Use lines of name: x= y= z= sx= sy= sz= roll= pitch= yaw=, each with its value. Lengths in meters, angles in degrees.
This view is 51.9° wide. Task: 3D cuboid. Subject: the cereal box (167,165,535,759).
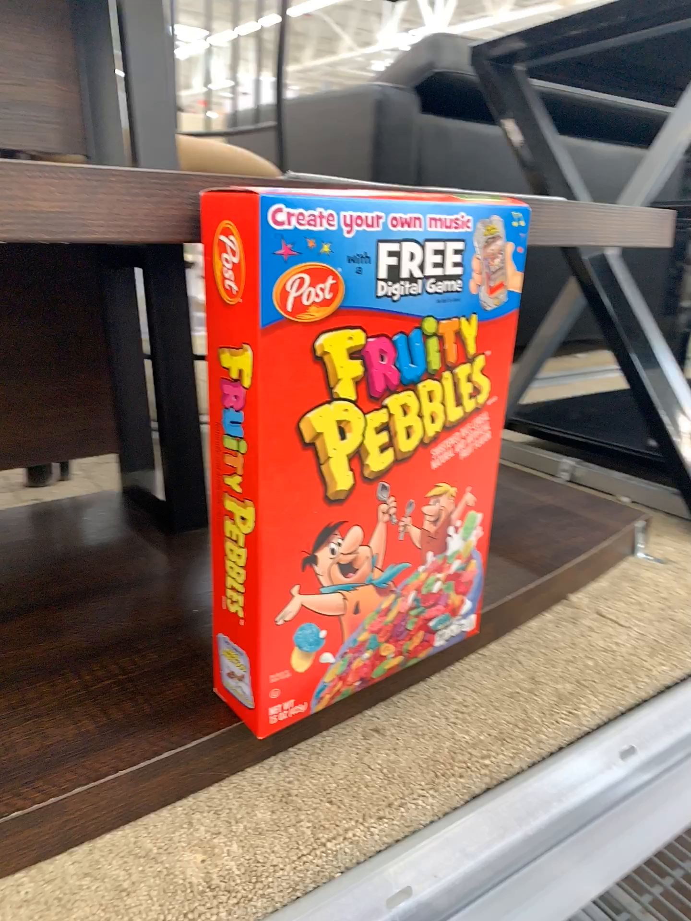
cereal box: x=0.008 y=-0.006 z=0.435 sx=0.210 sy=0.309 sz=0.060 roll=-13 pitch=24 yaw=-37
